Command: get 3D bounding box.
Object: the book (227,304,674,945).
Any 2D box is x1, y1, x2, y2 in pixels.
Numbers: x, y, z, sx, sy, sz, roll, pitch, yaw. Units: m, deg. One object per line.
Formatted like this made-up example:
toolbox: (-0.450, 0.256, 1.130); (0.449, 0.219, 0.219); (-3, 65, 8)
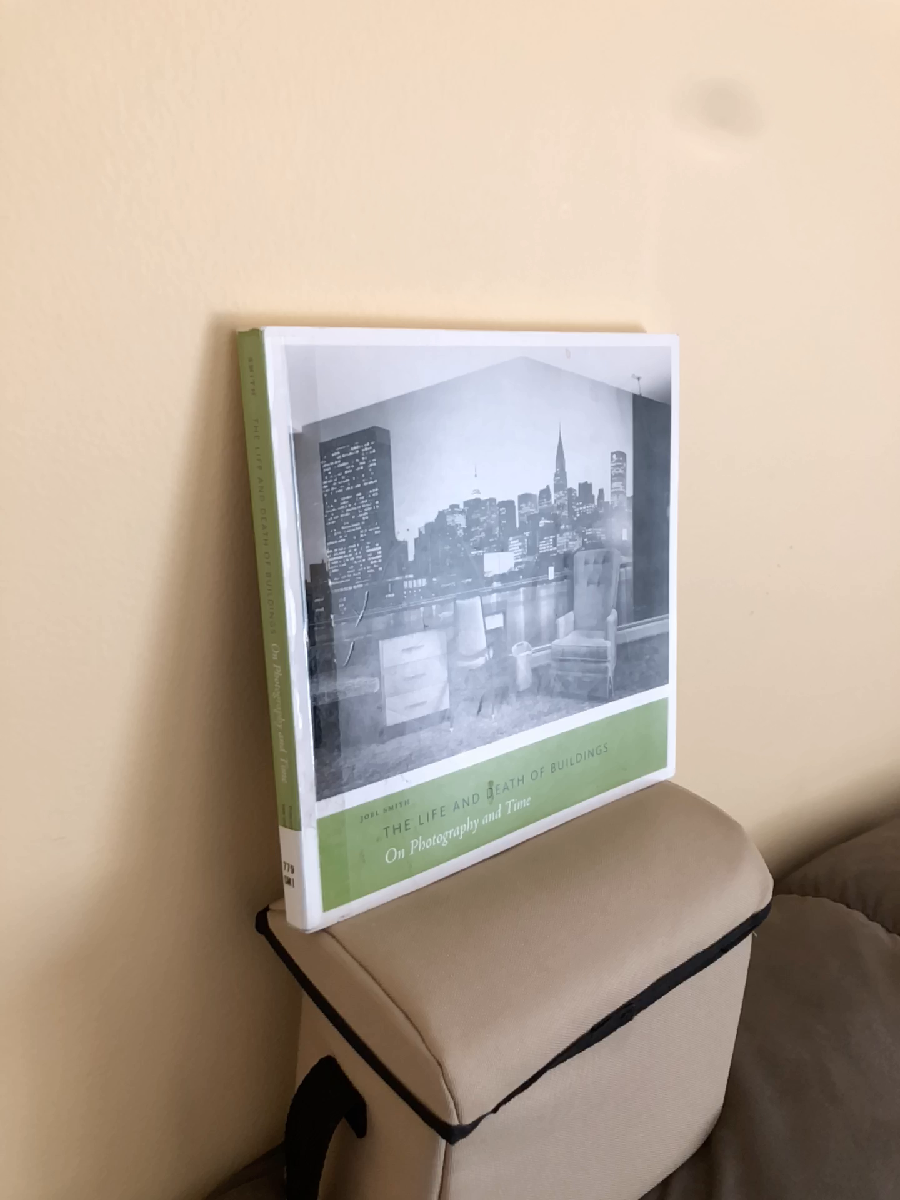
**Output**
book: (0.019, -0.004, 0.393); (0.216, 0.204, 0.020); (-12, 13, -44)
